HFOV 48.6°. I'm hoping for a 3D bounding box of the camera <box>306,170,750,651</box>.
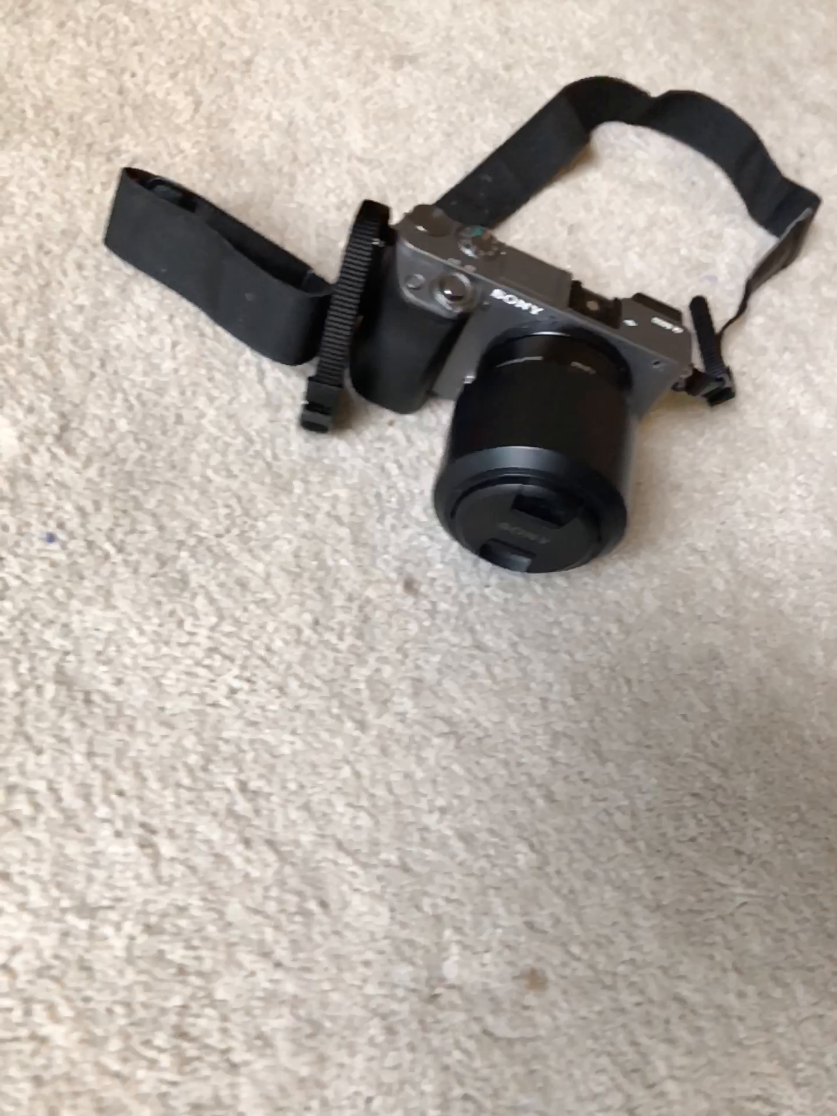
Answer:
[{"bbox_3d":[0.044,-0.054,0.350,0.130,0.080,0.121,20,54,-9],"label":"camera"}]
